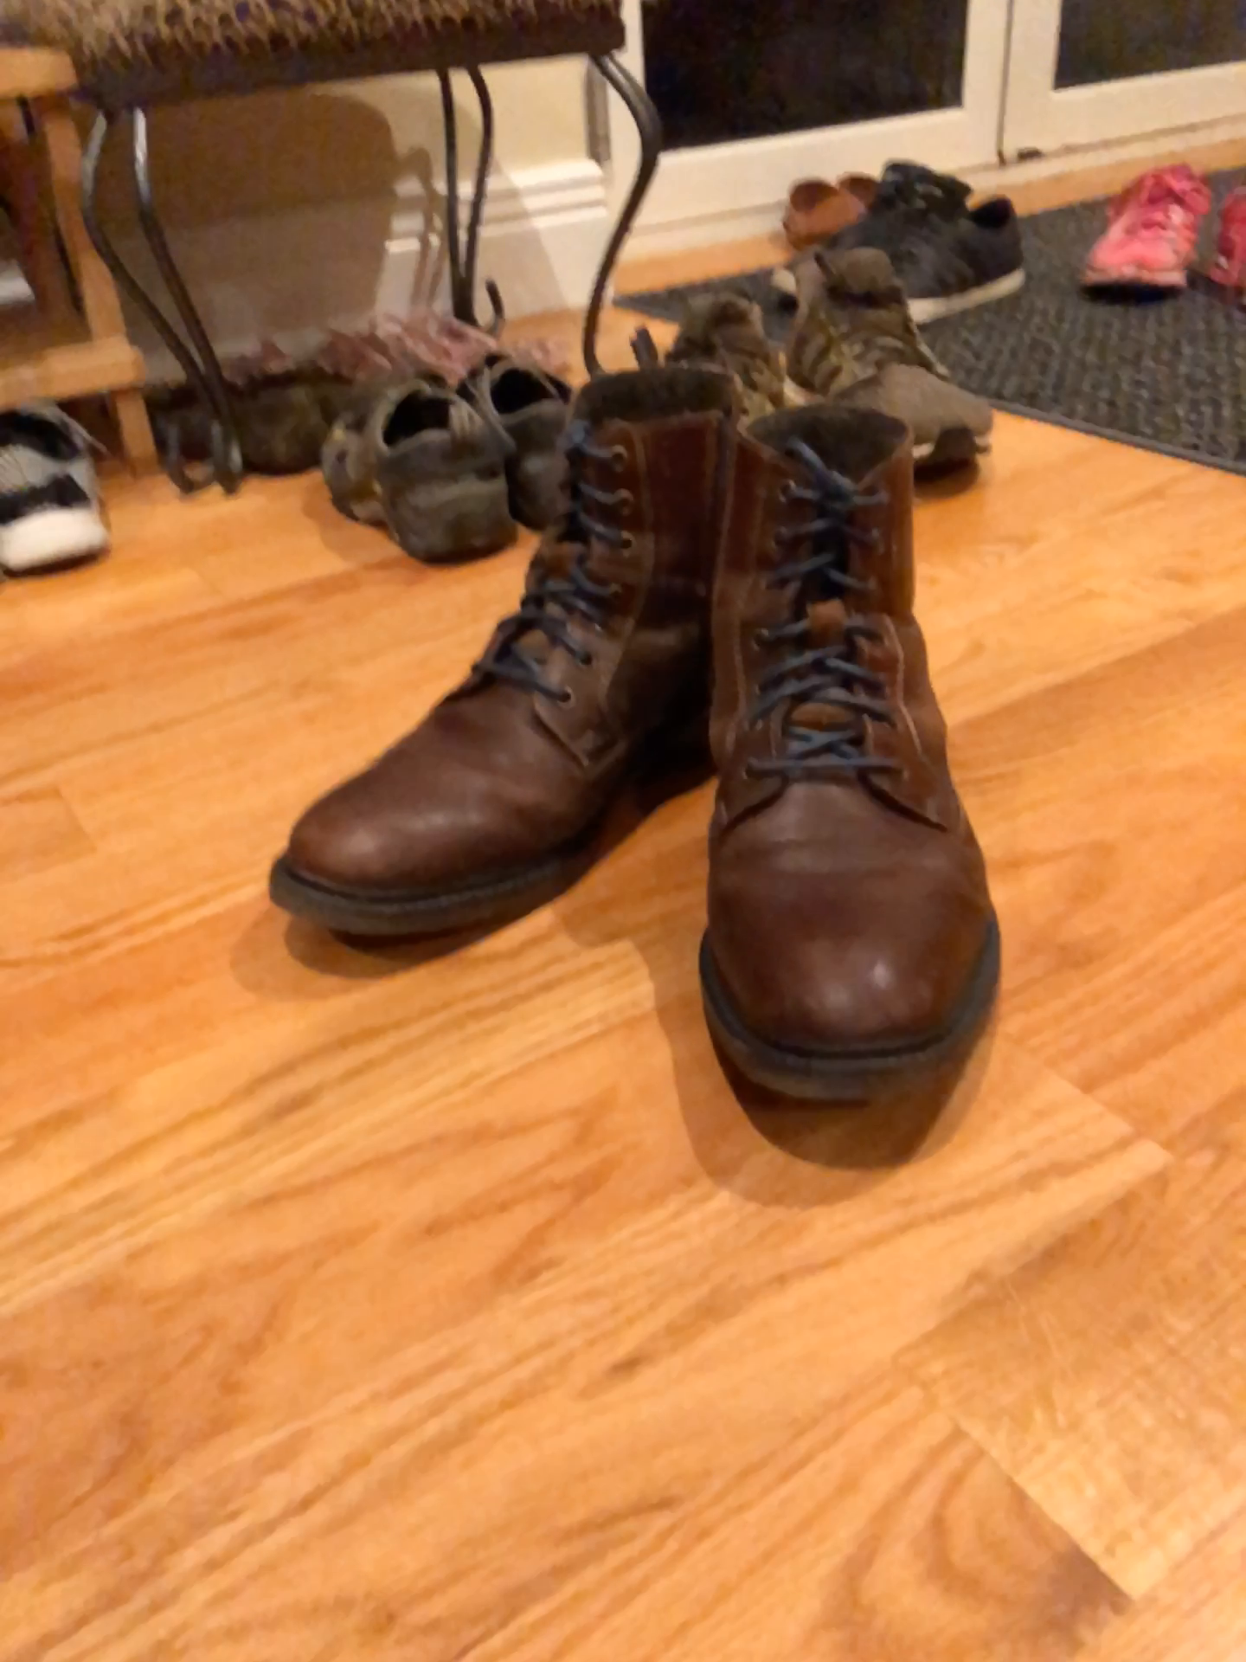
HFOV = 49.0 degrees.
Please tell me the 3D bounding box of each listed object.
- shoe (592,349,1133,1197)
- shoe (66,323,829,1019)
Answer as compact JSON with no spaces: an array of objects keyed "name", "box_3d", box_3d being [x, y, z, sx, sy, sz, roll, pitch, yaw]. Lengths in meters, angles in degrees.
[{"name":"shoe","box_3d":[0.067,-0.045,0.501,0.128,0.176,0.305,-2,32,3]},{"name":"shoe","box_3d":[-0.045,-0.090,0.581,0.113,0.167,0.311,21,40,34]}]
